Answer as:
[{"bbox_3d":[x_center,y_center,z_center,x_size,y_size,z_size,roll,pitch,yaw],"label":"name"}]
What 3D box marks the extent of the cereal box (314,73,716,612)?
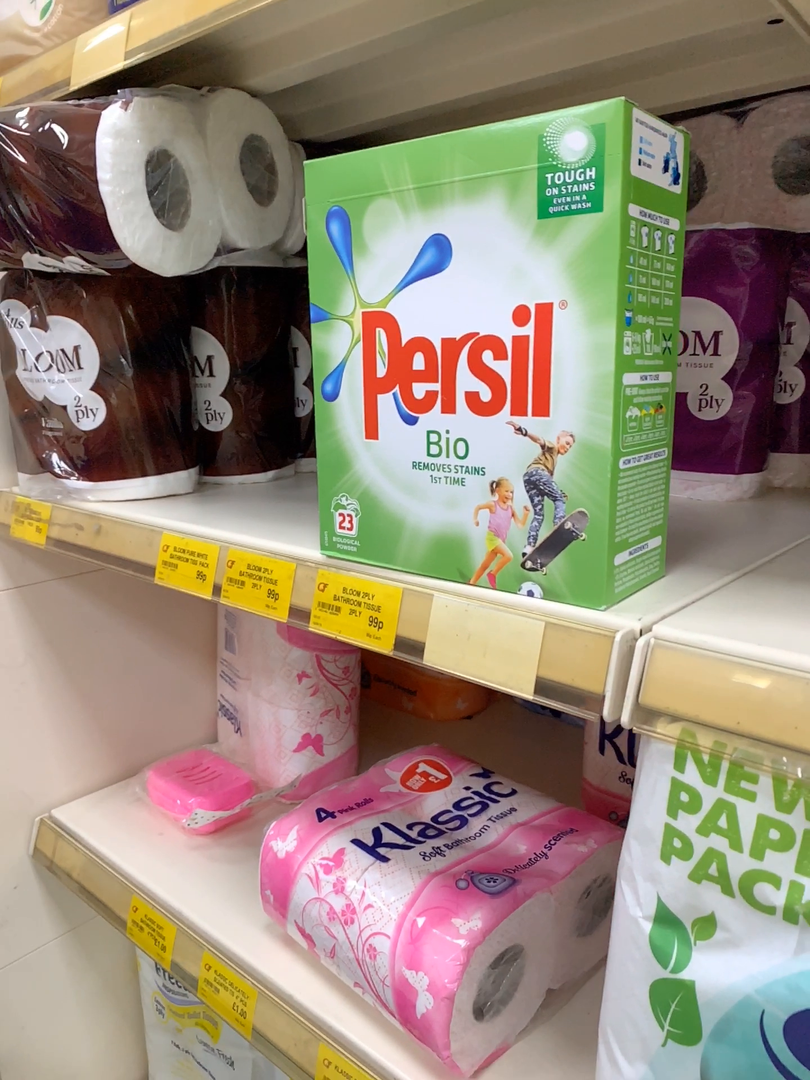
[{"bbox_3d":[0.055,-0.103,0.475,0.200,0.239,0.090,8,14,39],"label":"cereal box"}]
